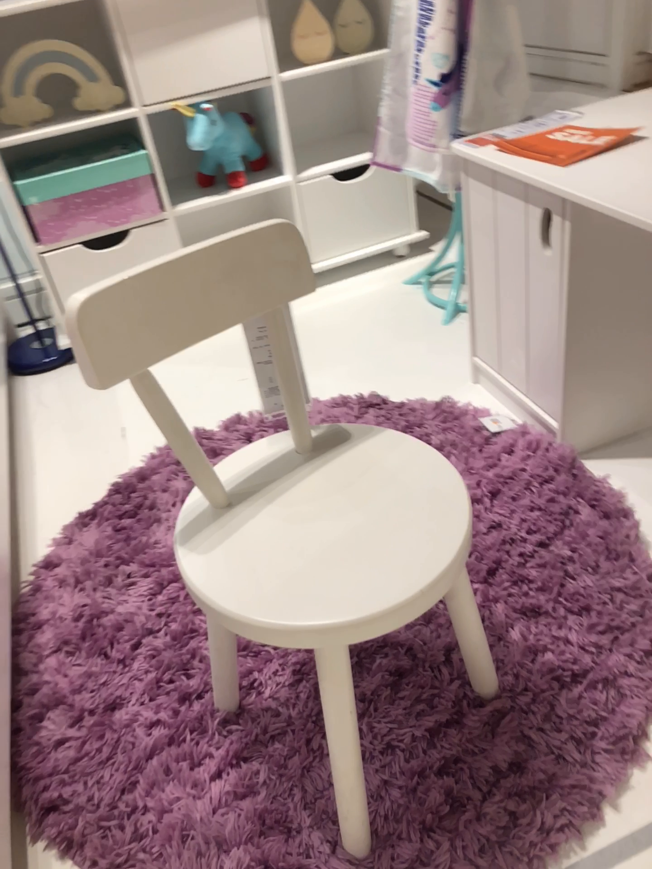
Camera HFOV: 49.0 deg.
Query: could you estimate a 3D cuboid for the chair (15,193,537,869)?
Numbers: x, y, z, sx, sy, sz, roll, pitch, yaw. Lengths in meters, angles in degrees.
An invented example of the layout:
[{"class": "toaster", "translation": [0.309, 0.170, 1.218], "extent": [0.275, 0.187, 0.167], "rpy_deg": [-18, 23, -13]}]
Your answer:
[{"class": "chair", "translation": [-0.005, 0.100, 0.764], "extent": [0.321, 0.575, 0.311], "rpy_deg": [-35, 41, -30]}]
